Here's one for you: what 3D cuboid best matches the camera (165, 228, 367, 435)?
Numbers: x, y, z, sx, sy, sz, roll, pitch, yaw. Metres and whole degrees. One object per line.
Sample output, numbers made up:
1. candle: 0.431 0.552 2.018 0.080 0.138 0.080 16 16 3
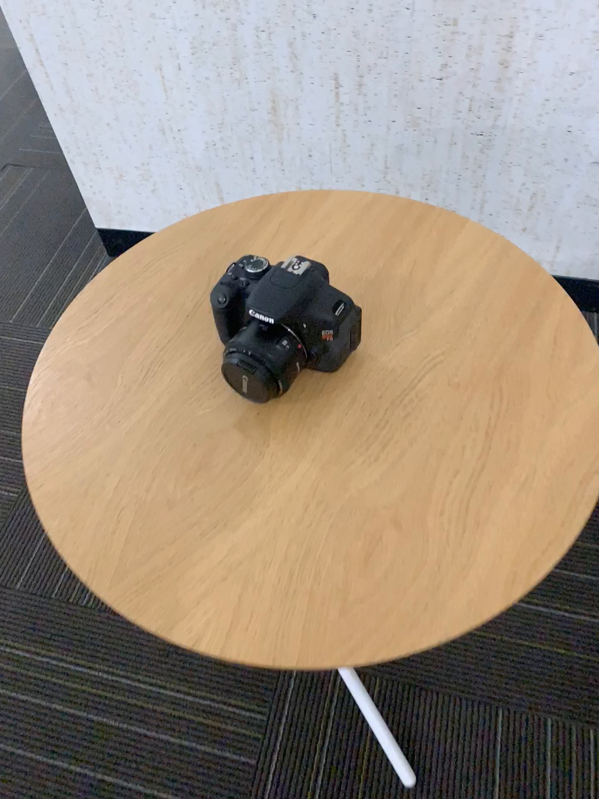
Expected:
1. camera: -0.024 -0.064 0.560 0.130 0.100 0.117 24 60 20
